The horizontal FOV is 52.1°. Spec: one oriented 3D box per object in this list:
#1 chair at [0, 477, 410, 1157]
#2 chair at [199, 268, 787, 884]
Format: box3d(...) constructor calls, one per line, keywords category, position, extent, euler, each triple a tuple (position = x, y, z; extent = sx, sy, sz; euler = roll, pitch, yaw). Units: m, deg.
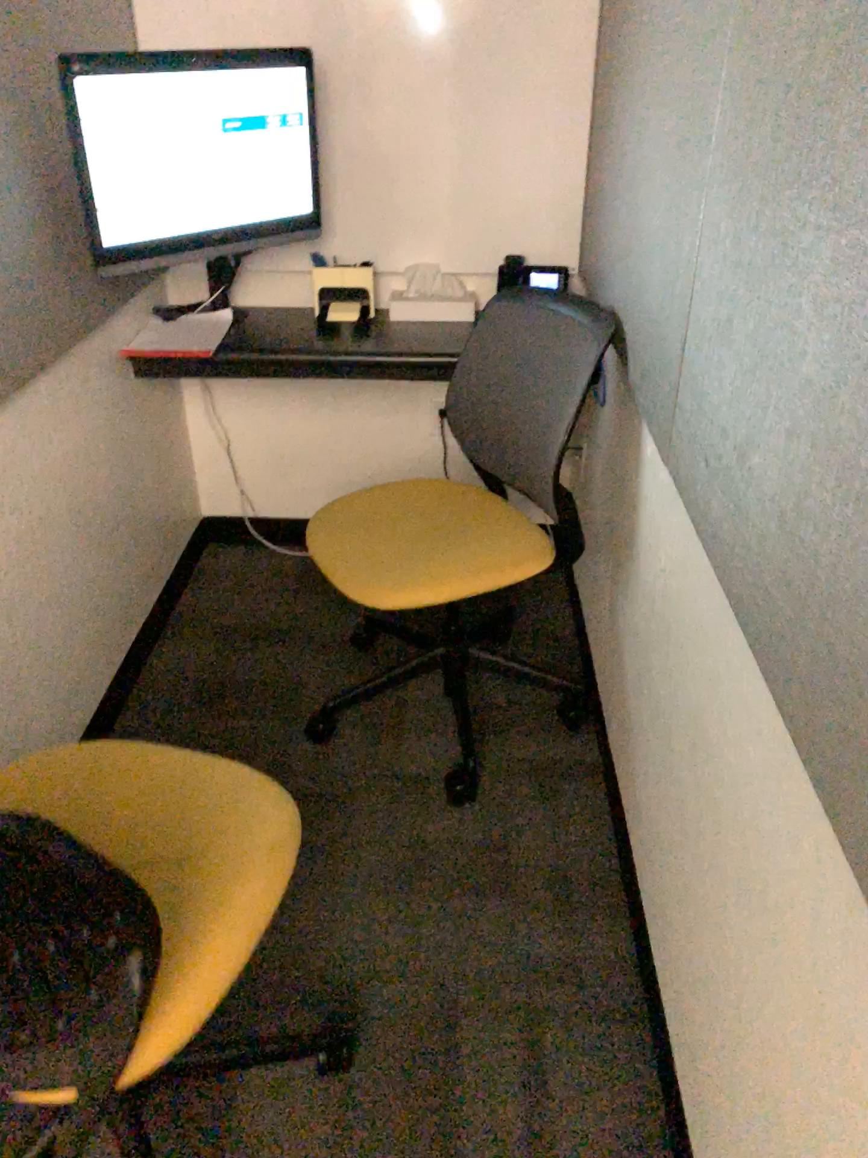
box3d(category="chair", position=(-0.385, 0.434, 0.939), extent=(0.551, 0.845, 0.573), euler=(11, 33, 16))
box3d(category="chair", position=(0.098, -0.106, 2.259), extent=(0.951, 1.034, 0.925), euler=(-19, 37, -29))
